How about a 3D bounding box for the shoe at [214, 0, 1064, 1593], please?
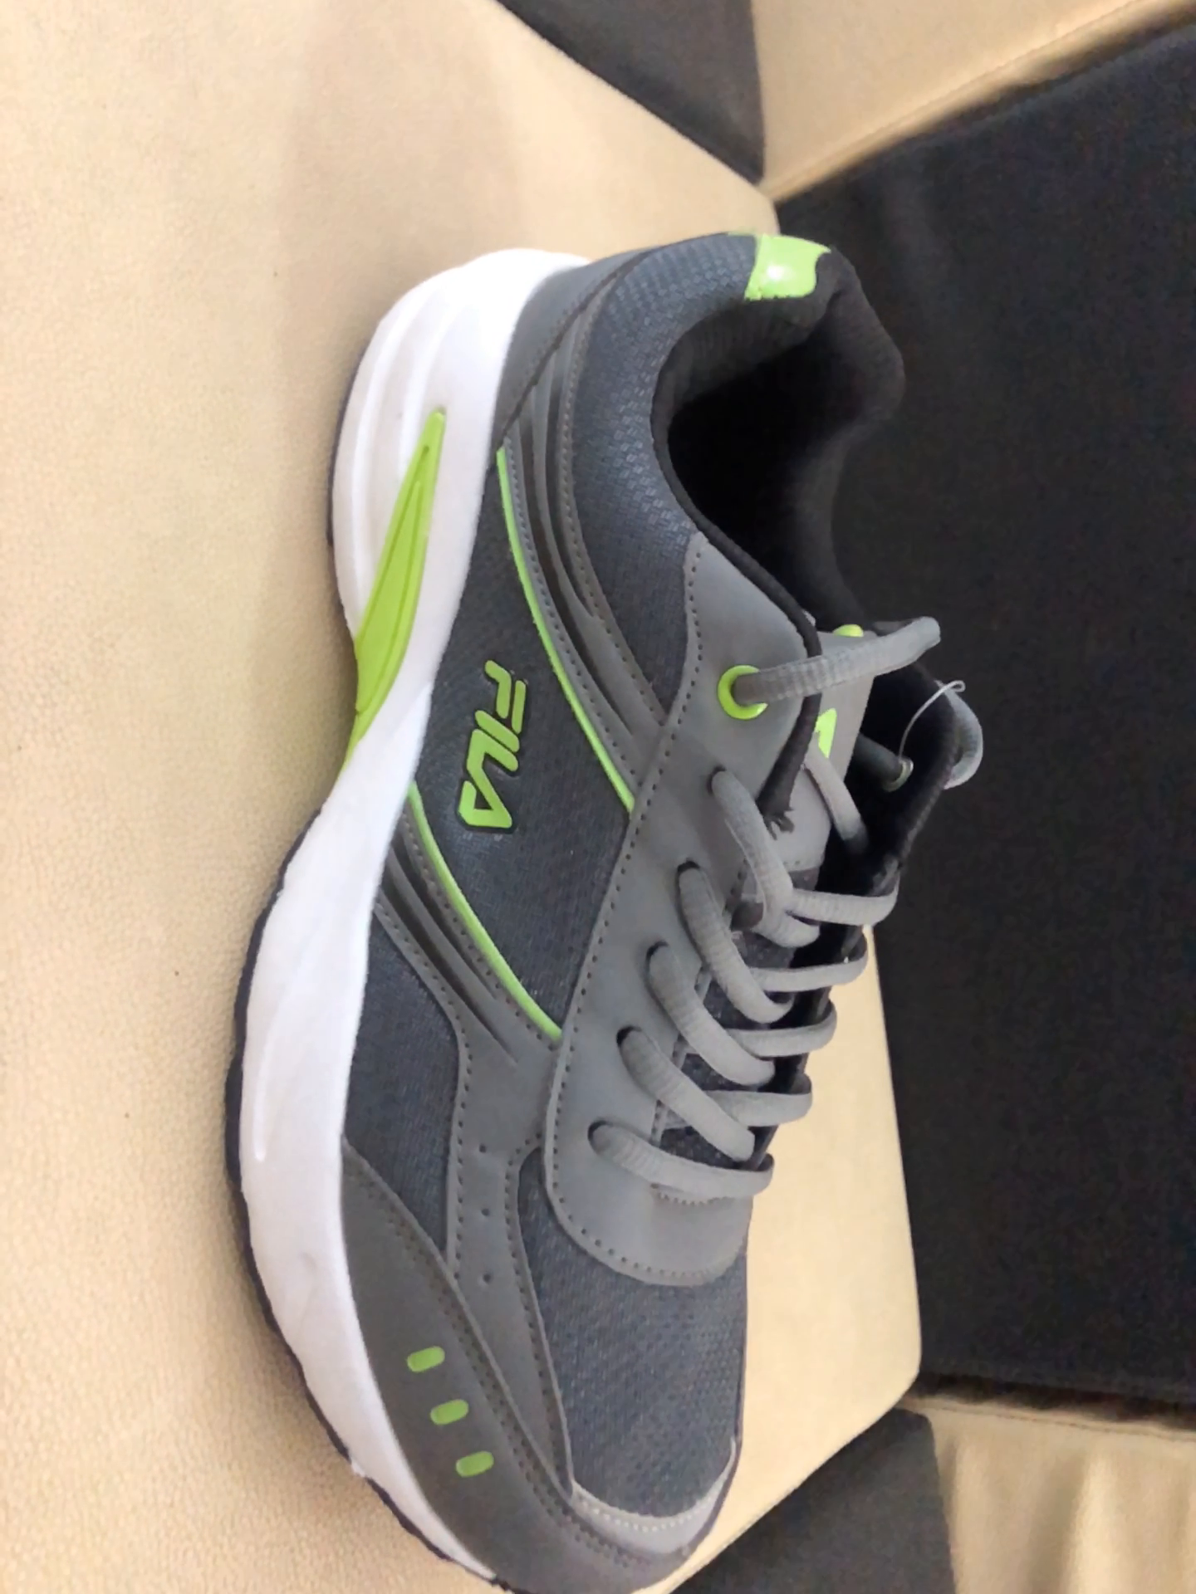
[{"bbox_3d":[0.007,0.002,0.282,0.131,0.099,0.320,13,71,-50],"label":"shoe"}]
